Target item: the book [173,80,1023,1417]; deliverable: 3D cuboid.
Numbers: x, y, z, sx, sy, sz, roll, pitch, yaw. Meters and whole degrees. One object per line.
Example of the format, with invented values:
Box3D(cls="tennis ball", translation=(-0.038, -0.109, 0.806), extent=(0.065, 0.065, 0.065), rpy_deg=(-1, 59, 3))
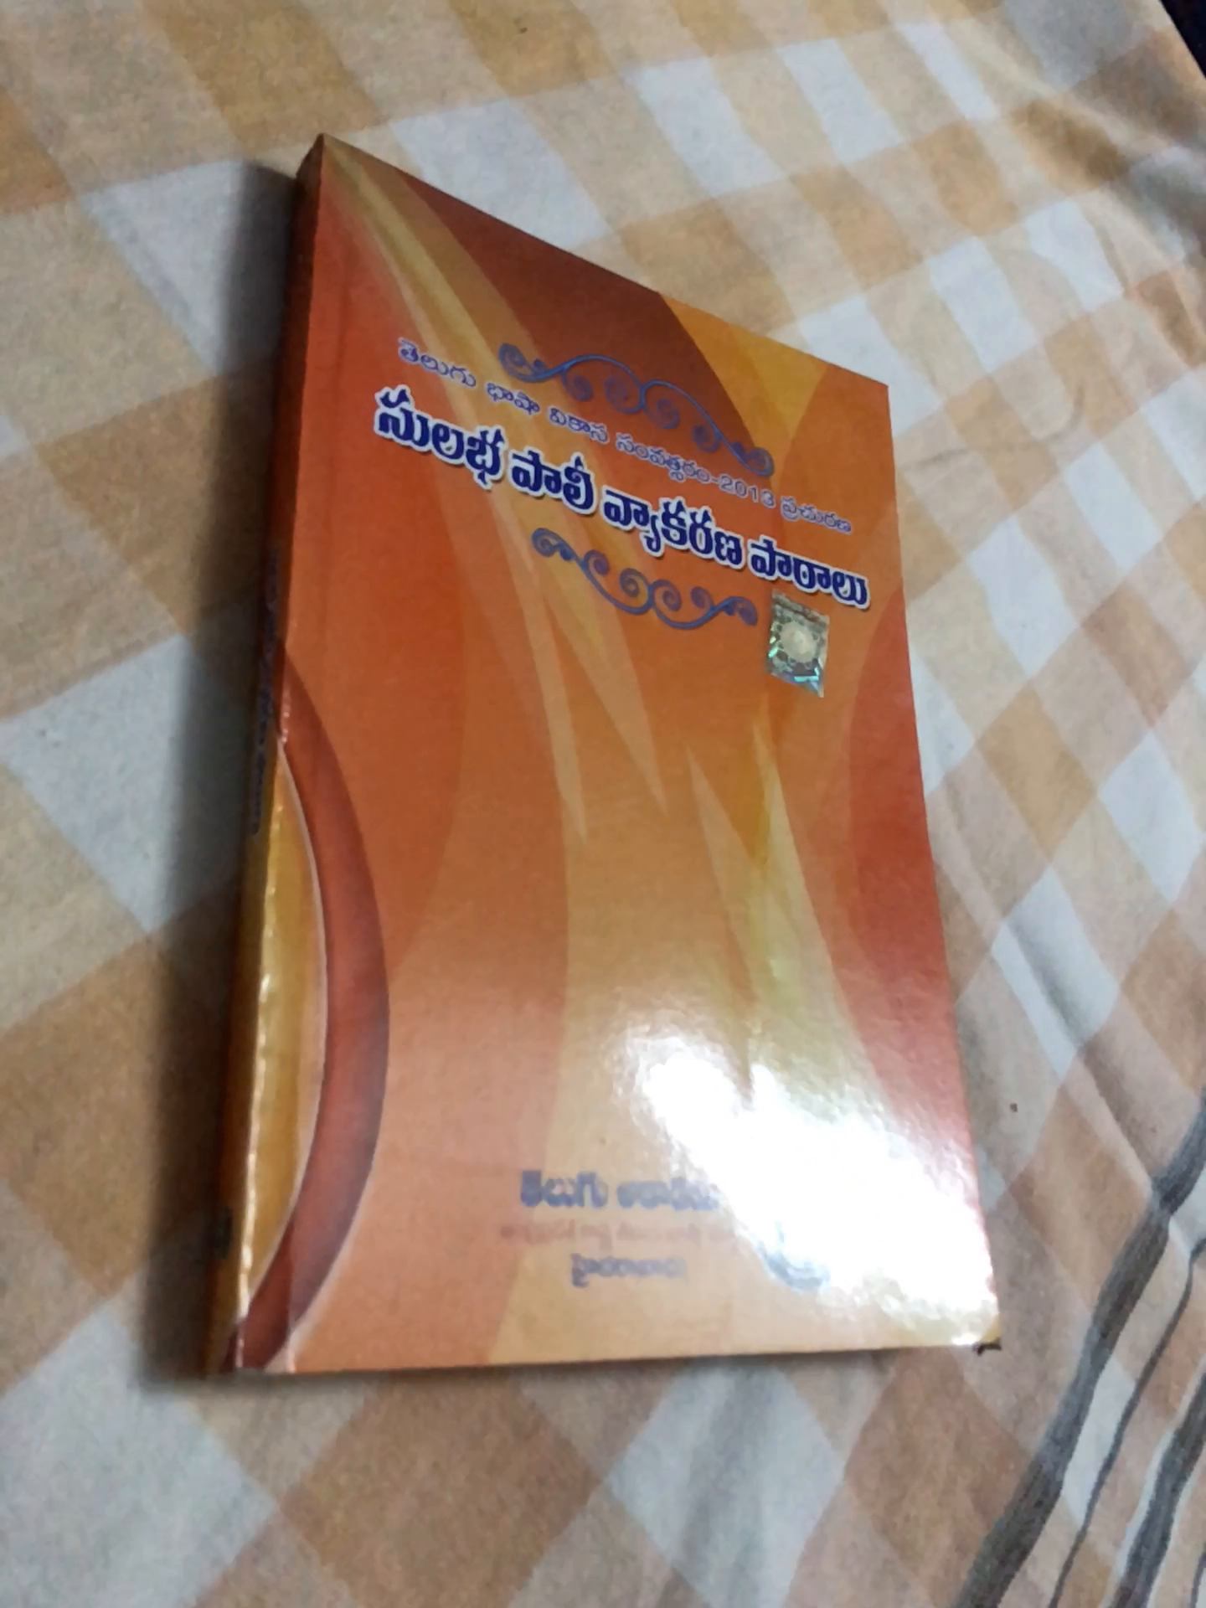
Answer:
Box3D(cls="book", translation=(0.006, -0.011, 0.238), extent=(0.141, 0.020, 0.210), rpy_deg=(13, 64, -33))
